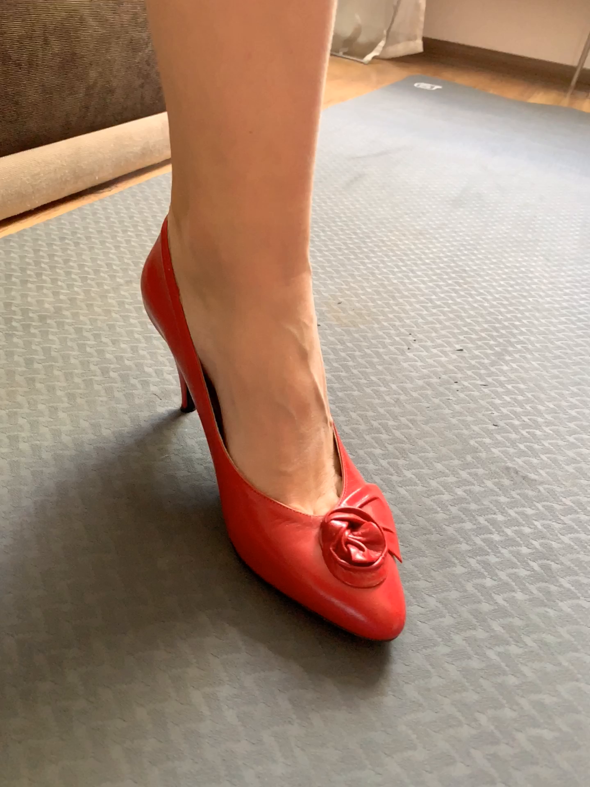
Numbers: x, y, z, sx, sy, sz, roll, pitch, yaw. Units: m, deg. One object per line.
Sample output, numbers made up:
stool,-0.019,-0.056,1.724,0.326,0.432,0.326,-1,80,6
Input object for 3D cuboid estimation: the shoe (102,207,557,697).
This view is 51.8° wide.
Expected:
shoe,-0.008,0.007,0.290,0.080,0.109,0.211,-19,45,-33
